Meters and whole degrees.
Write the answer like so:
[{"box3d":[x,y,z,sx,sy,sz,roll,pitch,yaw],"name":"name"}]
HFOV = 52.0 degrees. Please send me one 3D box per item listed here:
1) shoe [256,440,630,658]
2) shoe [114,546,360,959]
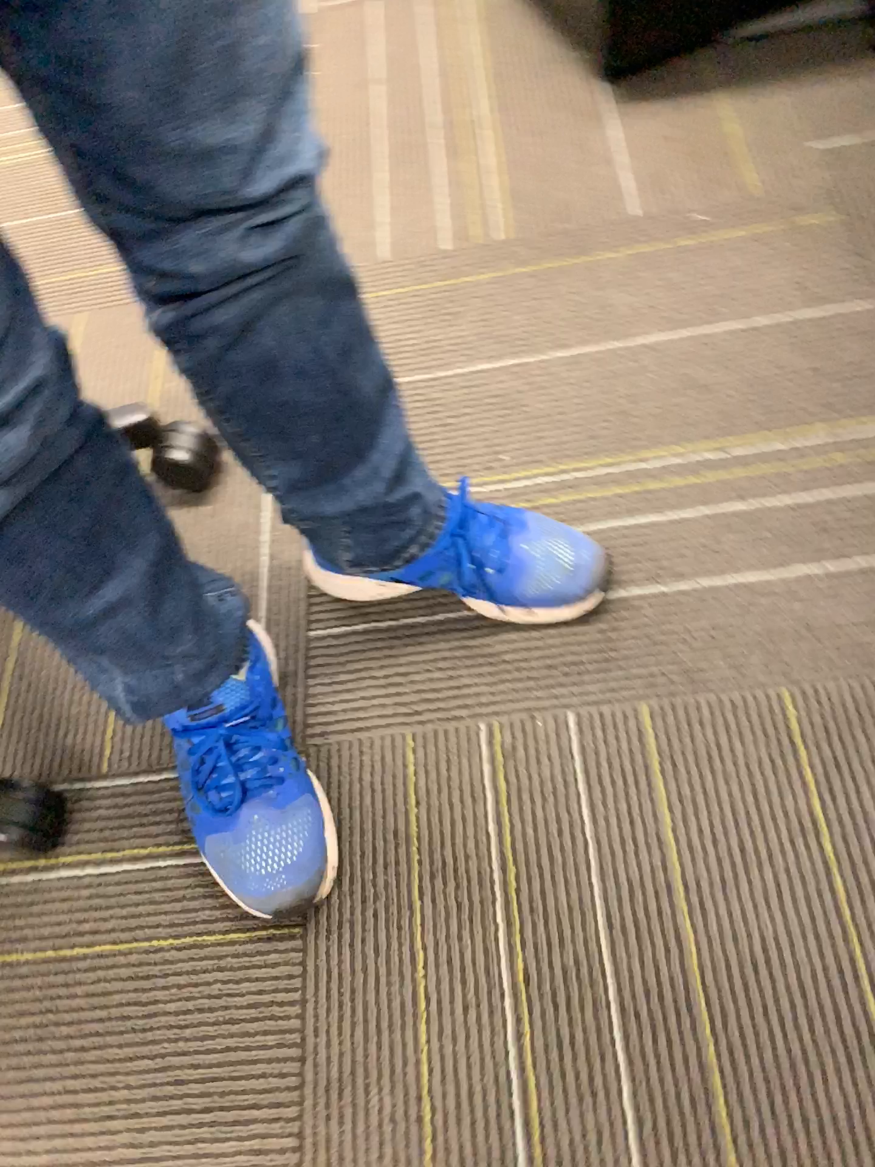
[{"box3d":[0.005,-0.041,0.843,0.311,0.088,0.142,9,61,27],"name":"shoe"},{"box3d":[-0.186,0.128,0.784,0.119,0.088,0.340,-24,48,-4],"name":"shoe"}]
